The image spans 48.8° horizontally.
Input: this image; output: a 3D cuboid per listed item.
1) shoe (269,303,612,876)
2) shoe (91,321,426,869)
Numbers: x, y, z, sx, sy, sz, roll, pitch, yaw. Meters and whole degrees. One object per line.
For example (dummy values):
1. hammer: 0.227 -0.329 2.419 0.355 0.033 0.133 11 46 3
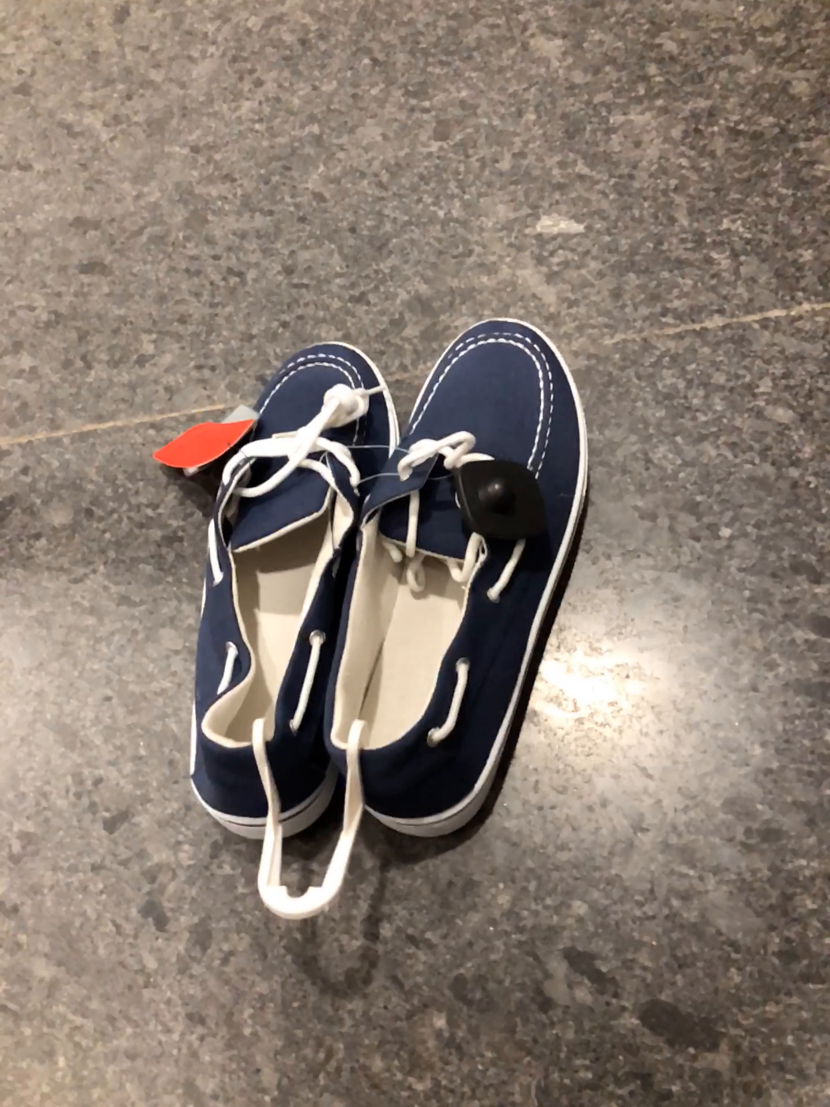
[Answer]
1. shoe: 0.029 0.013 0.453 0.096 0.115 0.247 9 65 16
2. shoe: -0.062 0.019 0.467 0.096 0.115 0.249 0 63 12
